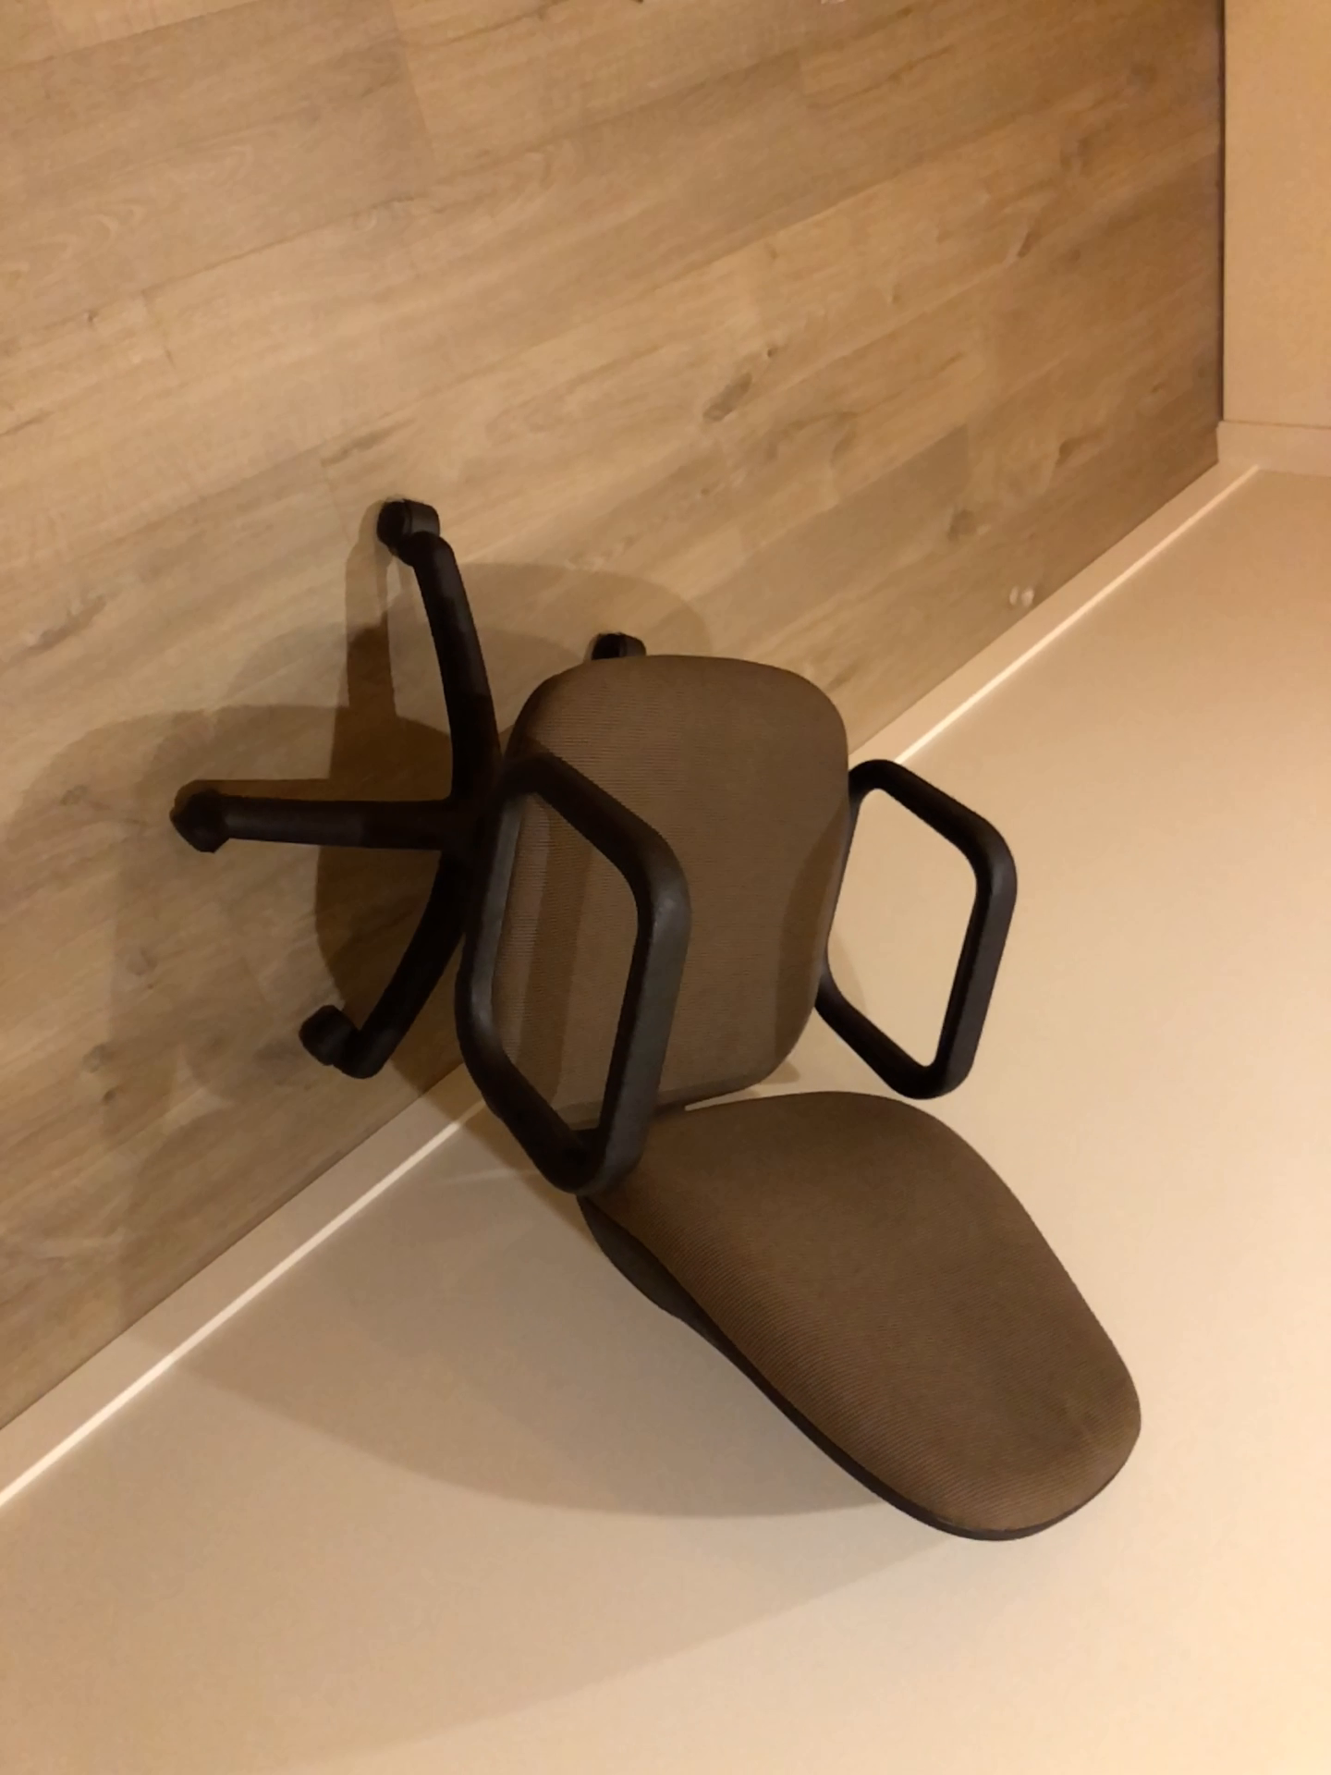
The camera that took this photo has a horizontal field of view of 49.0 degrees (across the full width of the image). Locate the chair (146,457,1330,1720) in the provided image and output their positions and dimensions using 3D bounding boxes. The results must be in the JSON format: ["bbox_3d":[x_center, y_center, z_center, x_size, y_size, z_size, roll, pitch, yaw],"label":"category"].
[{"bbox_3d":[0.055,0.042,1.405,0.633,0.975,0.710,-5,110,-46],"label":"chair"}]
